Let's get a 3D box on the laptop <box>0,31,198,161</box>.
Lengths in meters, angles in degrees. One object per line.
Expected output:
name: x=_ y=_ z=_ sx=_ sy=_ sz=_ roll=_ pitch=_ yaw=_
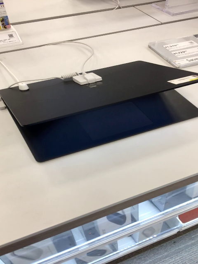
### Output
laptop: x=-0.005 y=-0.083 z=0.490 sx=0.324 sy=0.085 sz=0.207 roll=-18 pitch=52 yaw=-16
